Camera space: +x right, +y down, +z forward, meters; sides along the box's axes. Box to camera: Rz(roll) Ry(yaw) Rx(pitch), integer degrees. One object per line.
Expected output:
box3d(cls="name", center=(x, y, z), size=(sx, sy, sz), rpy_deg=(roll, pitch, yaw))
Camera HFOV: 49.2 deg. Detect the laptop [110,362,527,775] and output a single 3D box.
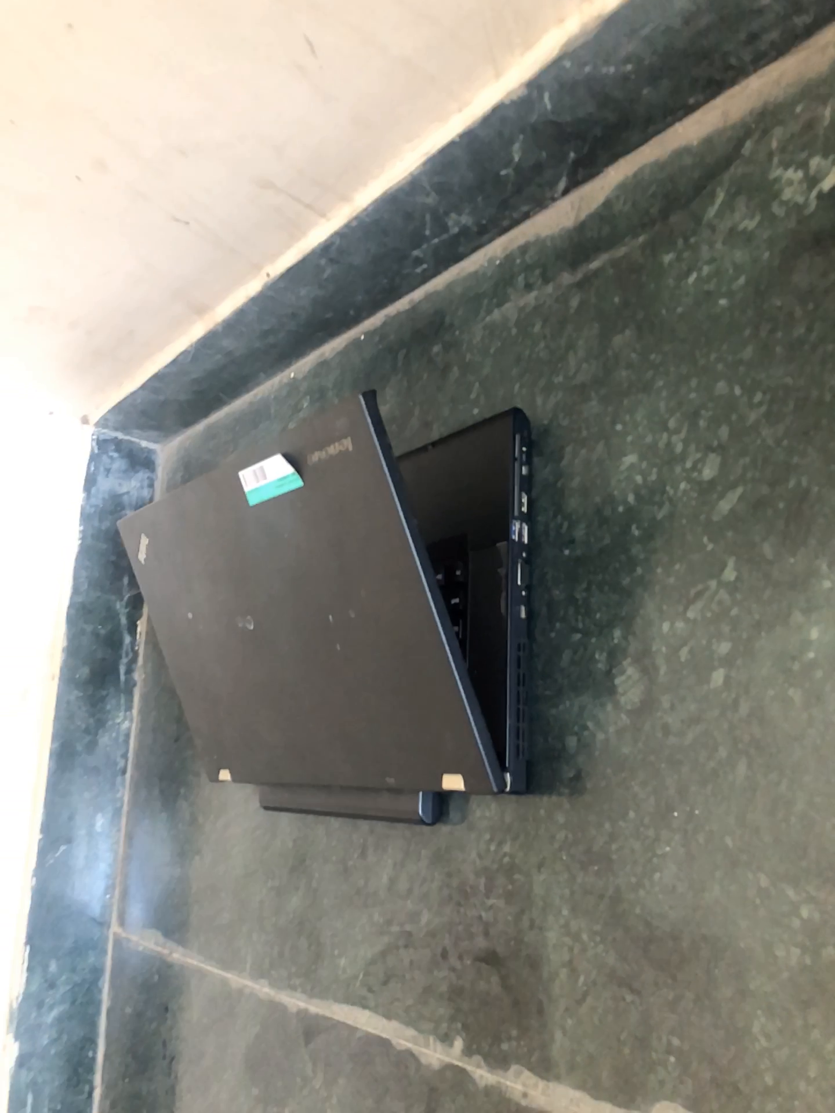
box3d(cls="laptop", center=(-0.088, 0.035, 0.649), size=(0.350, 0.094, 0.227), rpy_deg=(-14, 67, 49))
